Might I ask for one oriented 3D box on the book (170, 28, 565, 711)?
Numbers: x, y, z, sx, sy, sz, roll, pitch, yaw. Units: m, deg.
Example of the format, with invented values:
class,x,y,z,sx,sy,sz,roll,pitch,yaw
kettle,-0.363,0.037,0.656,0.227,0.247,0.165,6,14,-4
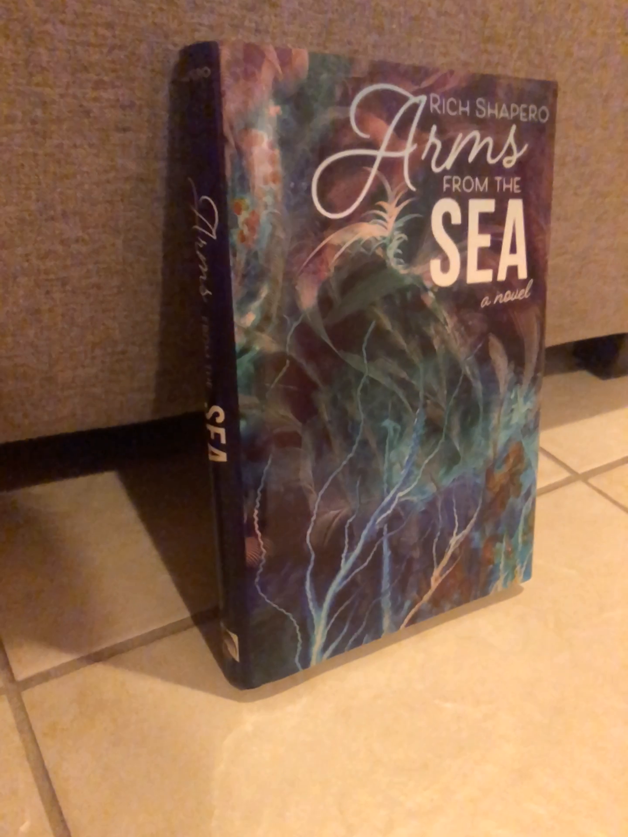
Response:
class,x,y,z,sx,sy,sz,roll,pitch,yaw
book,0.032,-0.019,0.283,0.157,0.228,0.030,-11,16,-31
